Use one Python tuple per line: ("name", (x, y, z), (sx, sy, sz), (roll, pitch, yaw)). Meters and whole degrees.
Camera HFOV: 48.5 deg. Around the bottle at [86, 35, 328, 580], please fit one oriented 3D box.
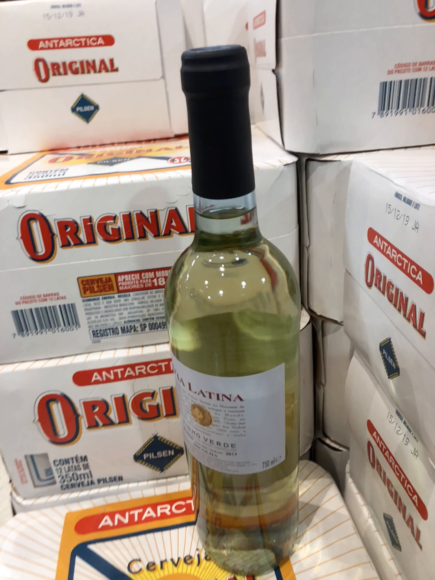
("bottle", (0.004, 0.030, 0.278), (0.080, 0.308, 0.070), (19, 34, 39))
